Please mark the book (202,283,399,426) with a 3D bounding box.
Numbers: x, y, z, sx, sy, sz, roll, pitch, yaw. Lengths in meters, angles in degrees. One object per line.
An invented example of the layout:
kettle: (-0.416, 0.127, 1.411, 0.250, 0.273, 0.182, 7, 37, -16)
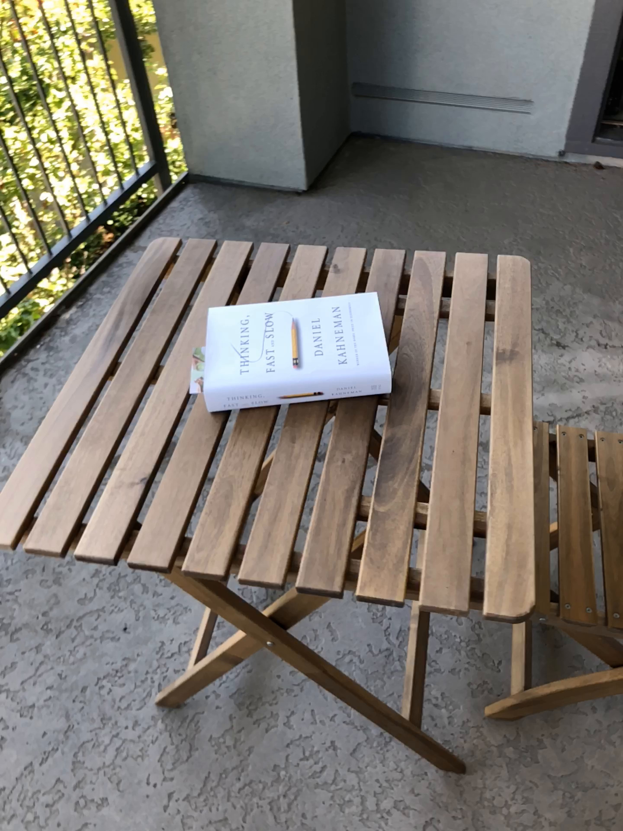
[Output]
book: (-0.018, -0.084, 0.917, 0.240, 0.060, 0.181, -6, 48, 0)
